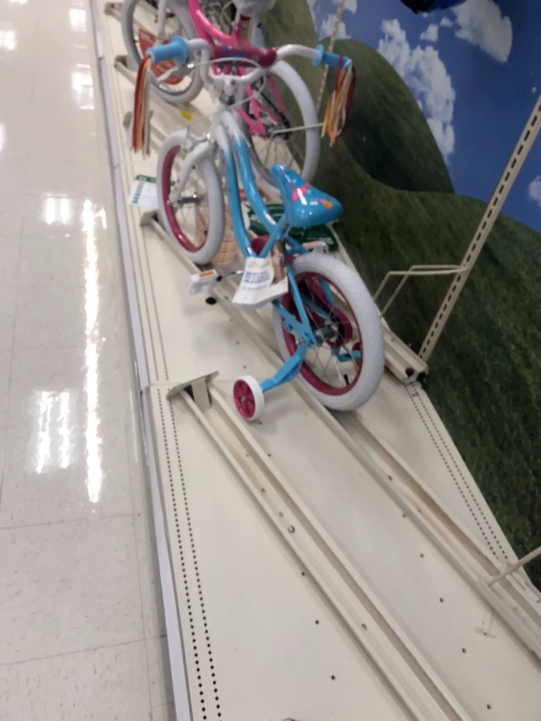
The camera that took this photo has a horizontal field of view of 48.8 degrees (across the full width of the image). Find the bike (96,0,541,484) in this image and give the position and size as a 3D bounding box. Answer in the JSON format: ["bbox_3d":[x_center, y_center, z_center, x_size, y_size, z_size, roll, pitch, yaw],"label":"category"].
[{"bbox_3d":[0.001,-0.423,1.590,0.533,0.723,1.094,-19,53,-31],"label":"bike"}]
